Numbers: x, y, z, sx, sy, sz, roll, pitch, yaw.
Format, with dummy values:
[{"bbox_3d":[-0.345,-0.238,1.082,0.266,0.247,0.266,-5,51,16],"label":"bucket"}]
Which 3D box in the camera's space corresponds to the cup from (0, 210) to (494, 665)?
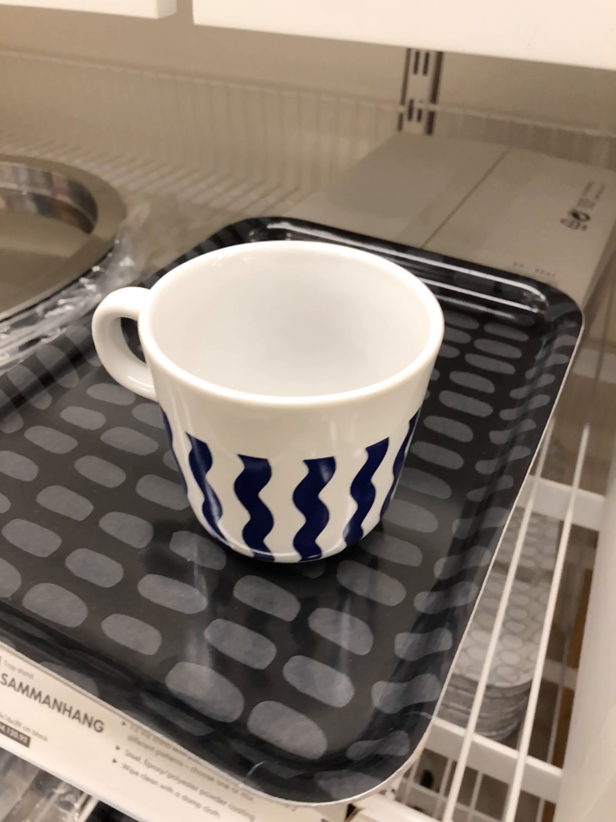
[{"bbox_3d":[-0.016,0.000,0.220,0.120,0.080,0.090,14,38,15],"label":"cup"}]
